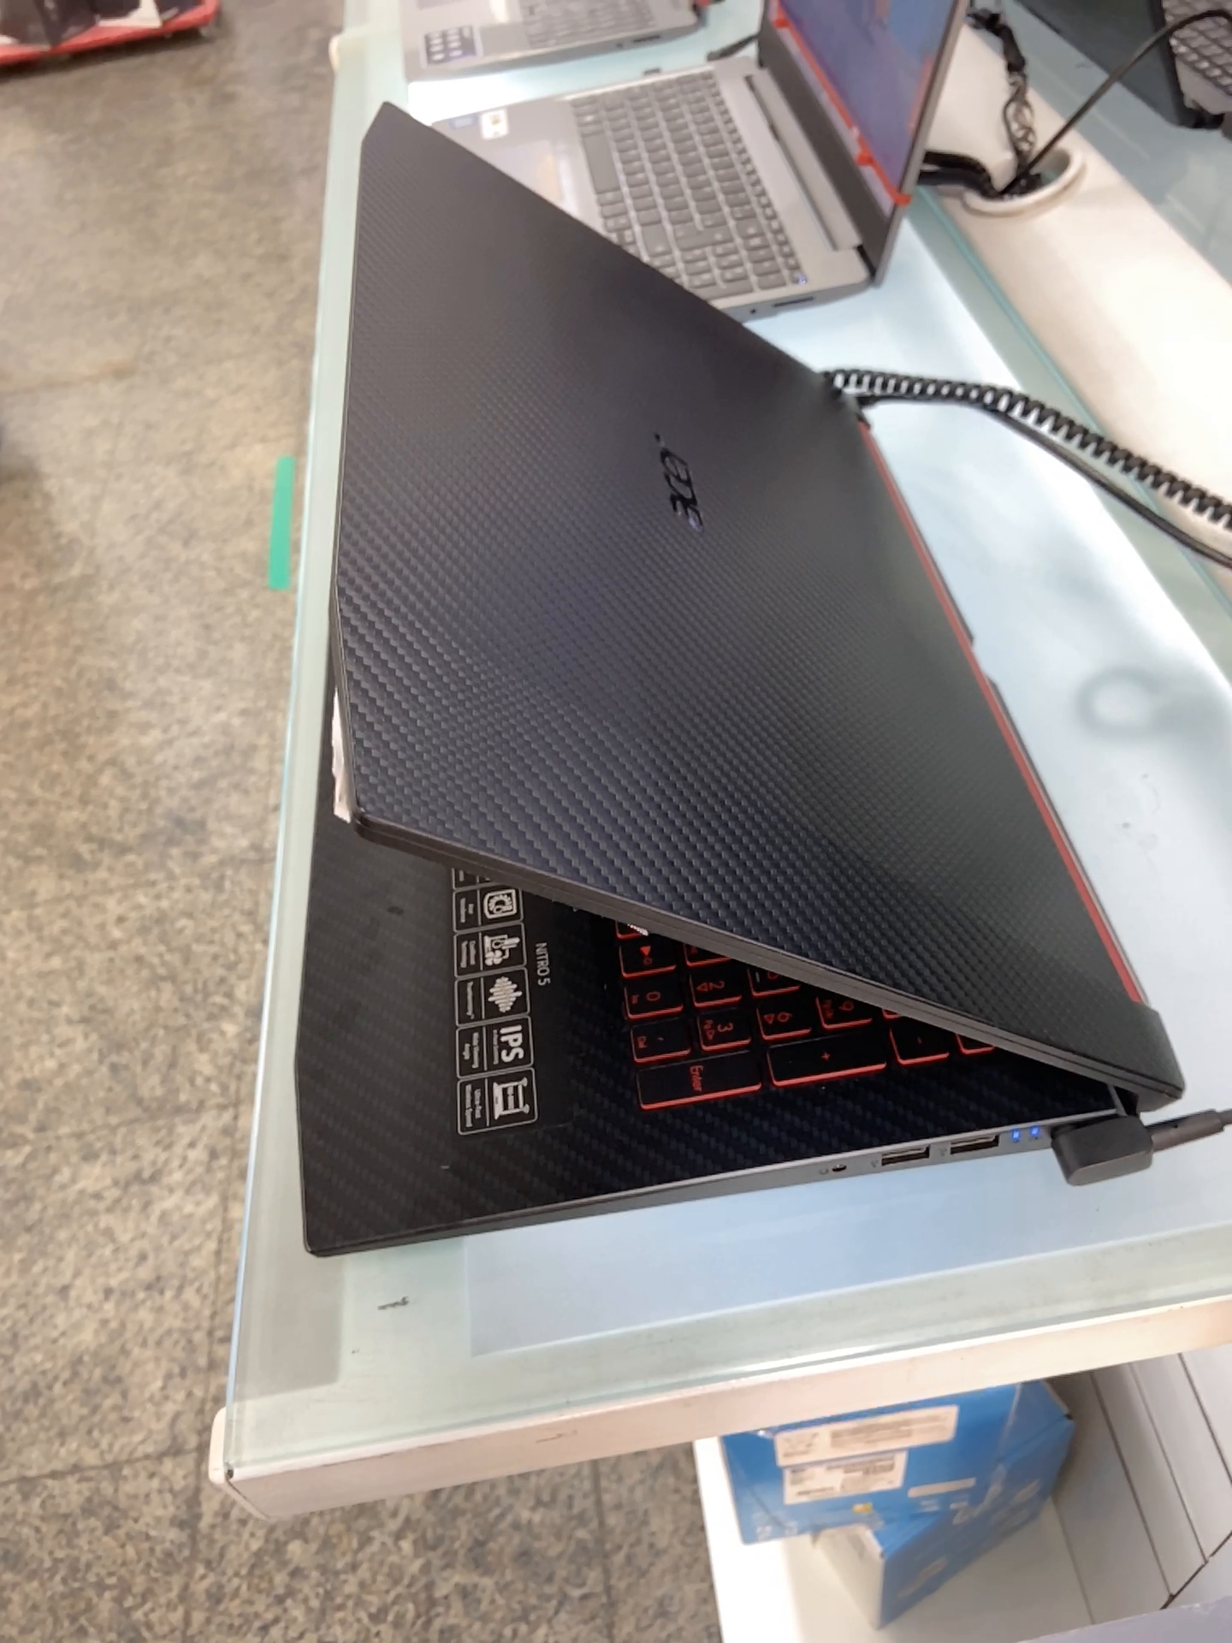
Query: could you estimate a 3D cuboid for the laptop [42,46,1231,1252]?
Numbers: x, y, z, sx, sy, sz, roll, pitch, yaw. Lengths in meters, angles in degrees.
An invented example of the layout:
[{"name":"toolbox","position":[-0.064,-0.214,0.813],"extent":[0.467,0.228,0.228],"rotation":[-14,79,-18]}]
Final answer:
[{"name":"laptop","position":[-0.005,-0.091,0.430],"extent":[0.234,0.163,0.382],"rotation":[-10,46,1]}]
